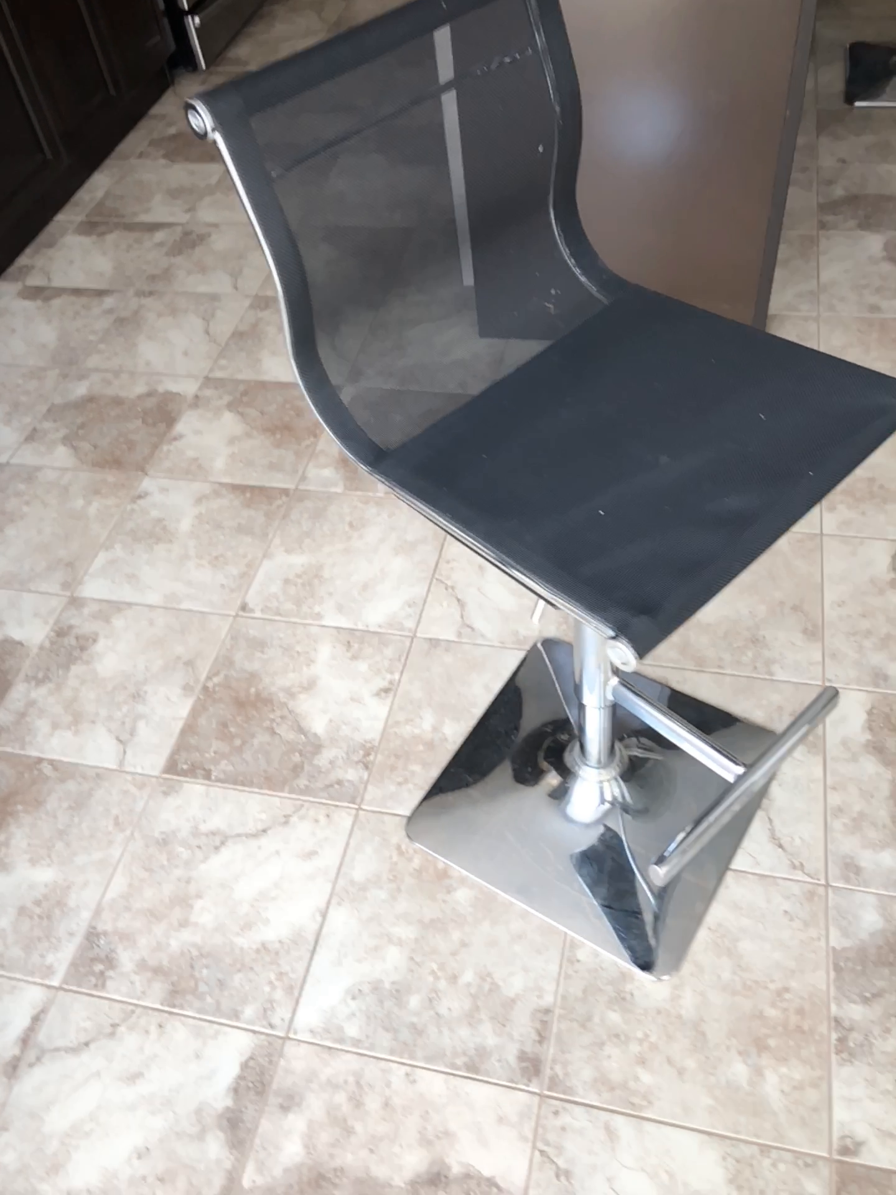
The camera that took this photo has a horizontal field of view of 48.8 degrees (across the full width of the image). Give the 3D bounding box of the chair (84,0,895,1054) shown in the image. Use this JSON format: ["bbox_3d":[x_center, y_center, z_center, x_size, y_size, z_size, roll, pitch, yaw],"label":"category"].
[{"bbox_3d":[0.165,-0.071,1.060,0.540,0.977,0.551,-38,54,-23],"label":"chair"}]
